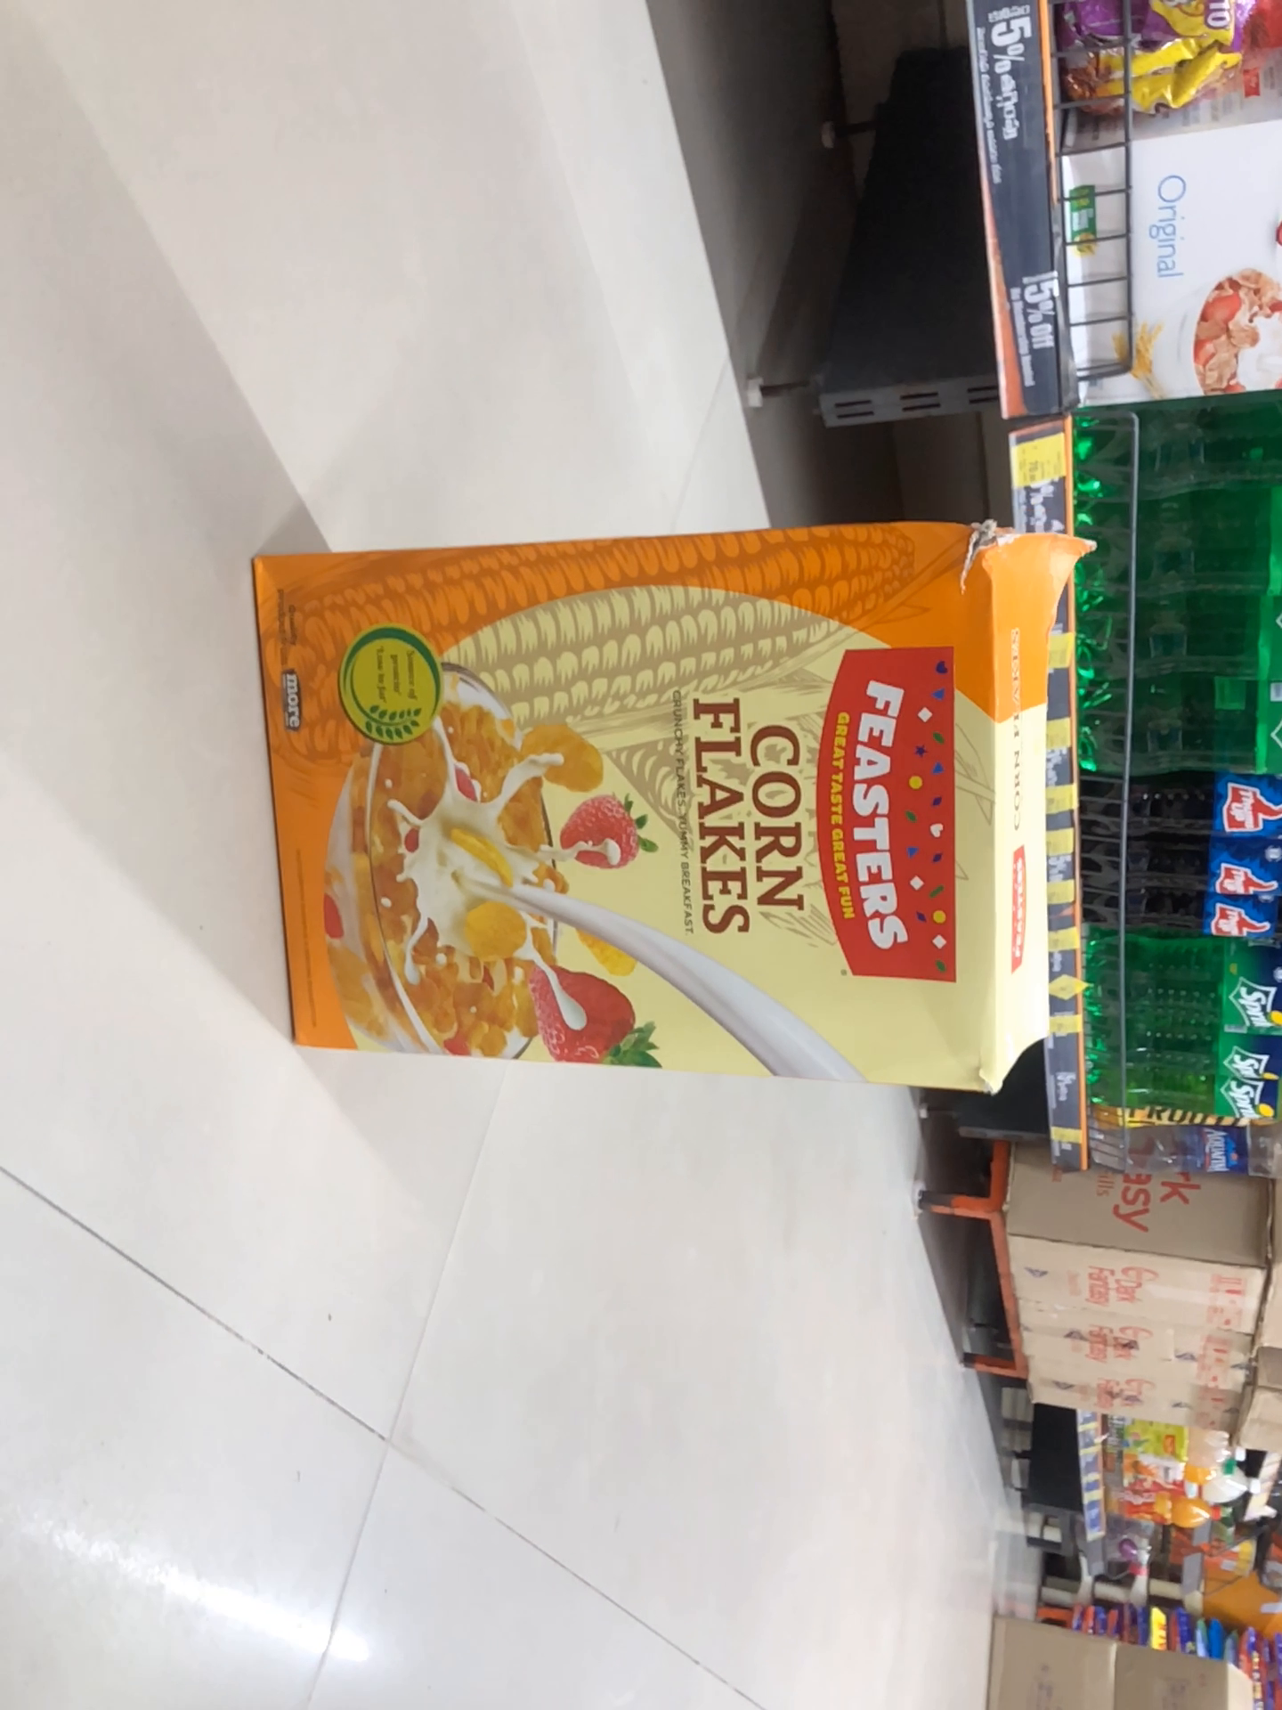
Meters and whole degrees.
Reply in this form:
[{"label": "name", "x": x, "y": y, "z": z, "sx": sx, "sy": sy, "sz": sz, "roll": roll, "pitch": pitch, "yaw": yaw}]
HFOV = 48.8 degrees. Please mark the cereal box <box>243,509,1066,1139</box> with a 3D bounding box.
[{"label": "cereal box", "x": 0.006, "y": -0.011, "z": 0.487, "sx": 0.060, "sy": 0.269, "sz": 0.190, "roll": -31, "pitch": 119, "yaw": -71}]
